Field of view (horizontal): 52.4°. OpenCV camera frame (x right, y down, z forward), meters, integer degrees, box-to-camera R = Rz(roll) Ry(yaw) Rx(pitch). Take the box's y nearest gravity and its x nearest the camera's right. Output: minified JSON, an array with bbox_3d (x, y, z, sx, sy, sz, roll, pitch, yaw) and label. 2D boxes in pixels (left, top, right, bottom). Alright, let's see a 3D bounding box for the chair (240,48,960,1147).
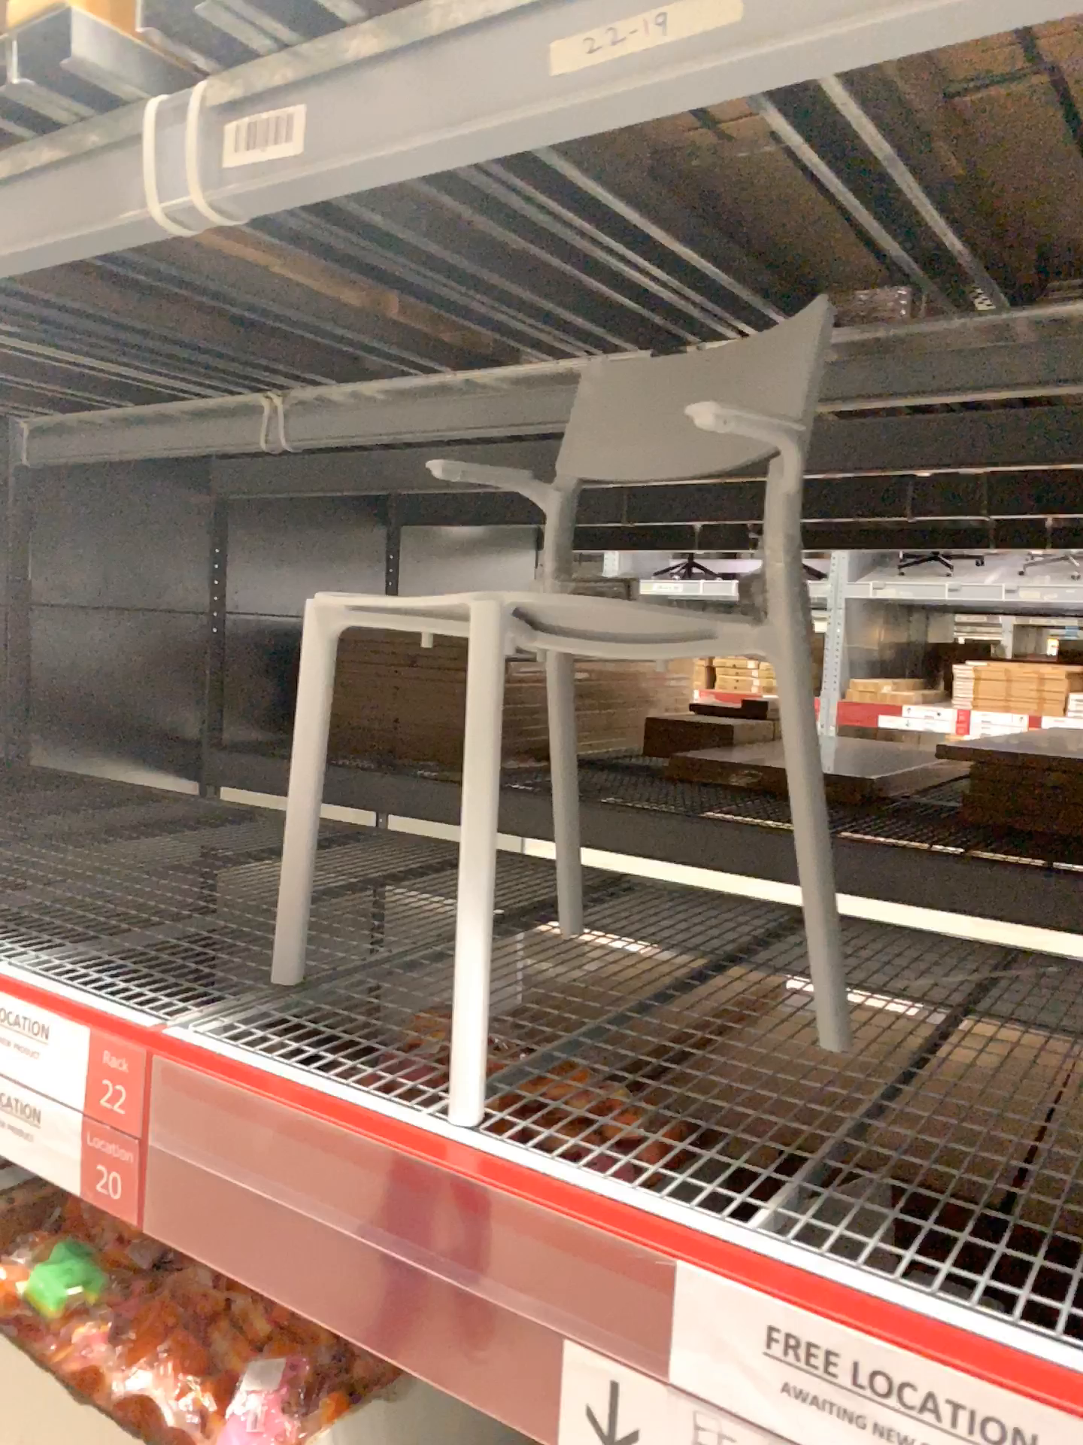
[{"bbox_3d":[0.045,-0.104,1.180,0.550,0.819,0.480,0,5,-36],"label":"chair"}]
